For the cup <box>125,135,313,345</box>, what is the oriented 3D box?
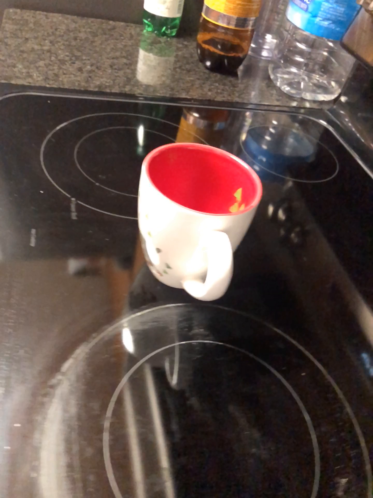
[{"bbox_3d":[0.013,-0.013,0.351,0.100,0.100,0.141,-2,46,-18],"label":"cup"}]
